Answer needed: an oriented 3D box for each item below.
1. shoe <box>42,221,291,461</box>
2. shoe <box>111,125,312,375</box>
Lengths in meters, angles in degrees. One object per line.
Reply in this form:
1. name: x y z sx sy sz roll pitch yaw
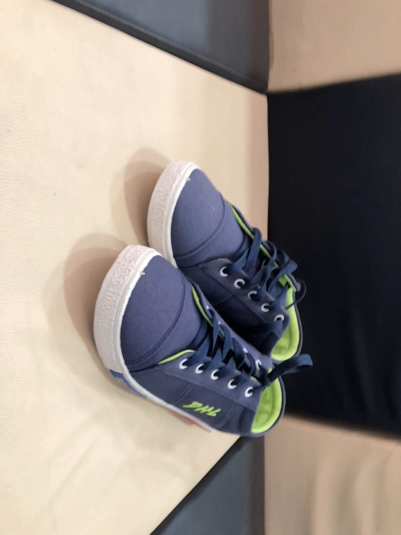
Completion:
1. shoe: -0.004 0.079 0.395 0.262 0.089 0.090 57 47 -47
2. shoe: 0.033 0.003 0.438 0.272 0.079 0.090 57 47 -47
